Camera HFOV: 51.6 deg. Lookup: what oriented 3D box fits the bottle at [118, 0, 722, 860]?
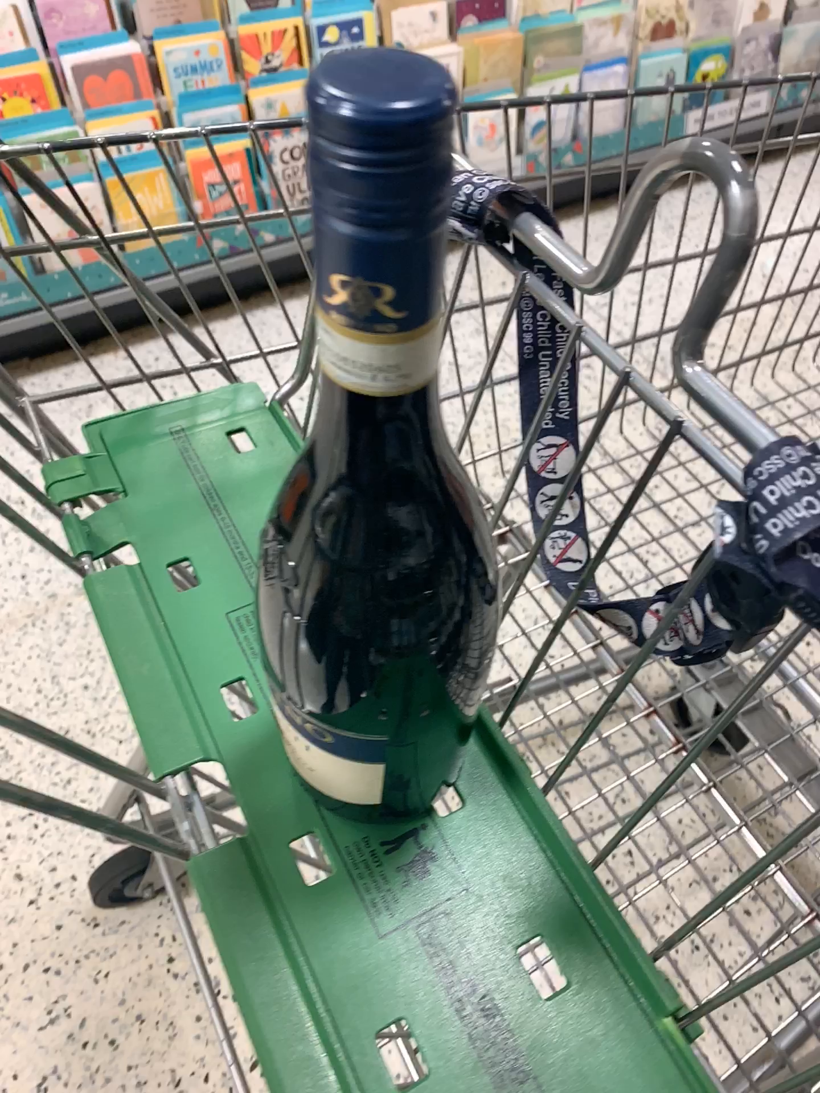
[{"bbox_3d":[-0.007,-0.007,0.274,0.090,0.267,0.091,1,50,-2],"label":"bottle"}]
